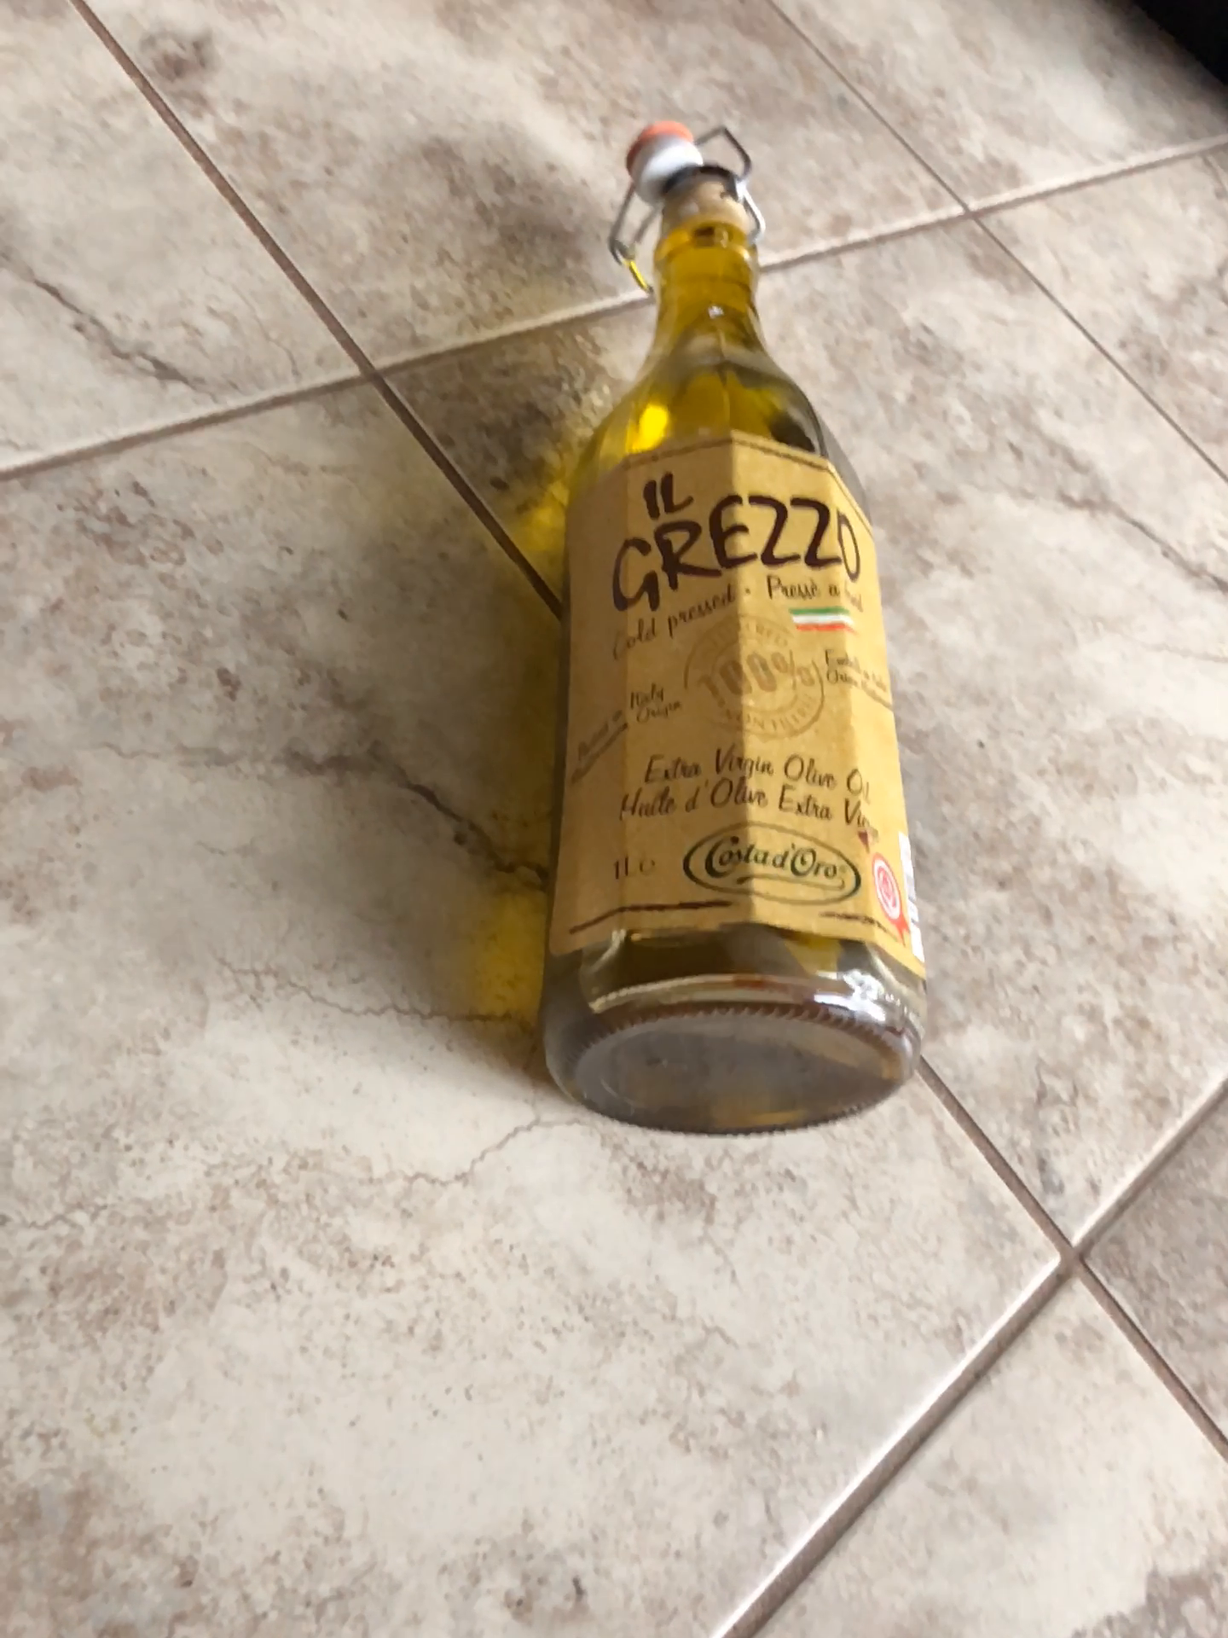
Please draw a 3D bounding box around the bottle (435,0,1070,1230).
[{"bbox_3d":[0.036,-0.085,0.368,0.090,0.100,0.351,16,54,-14],"label":"bottle"}]
